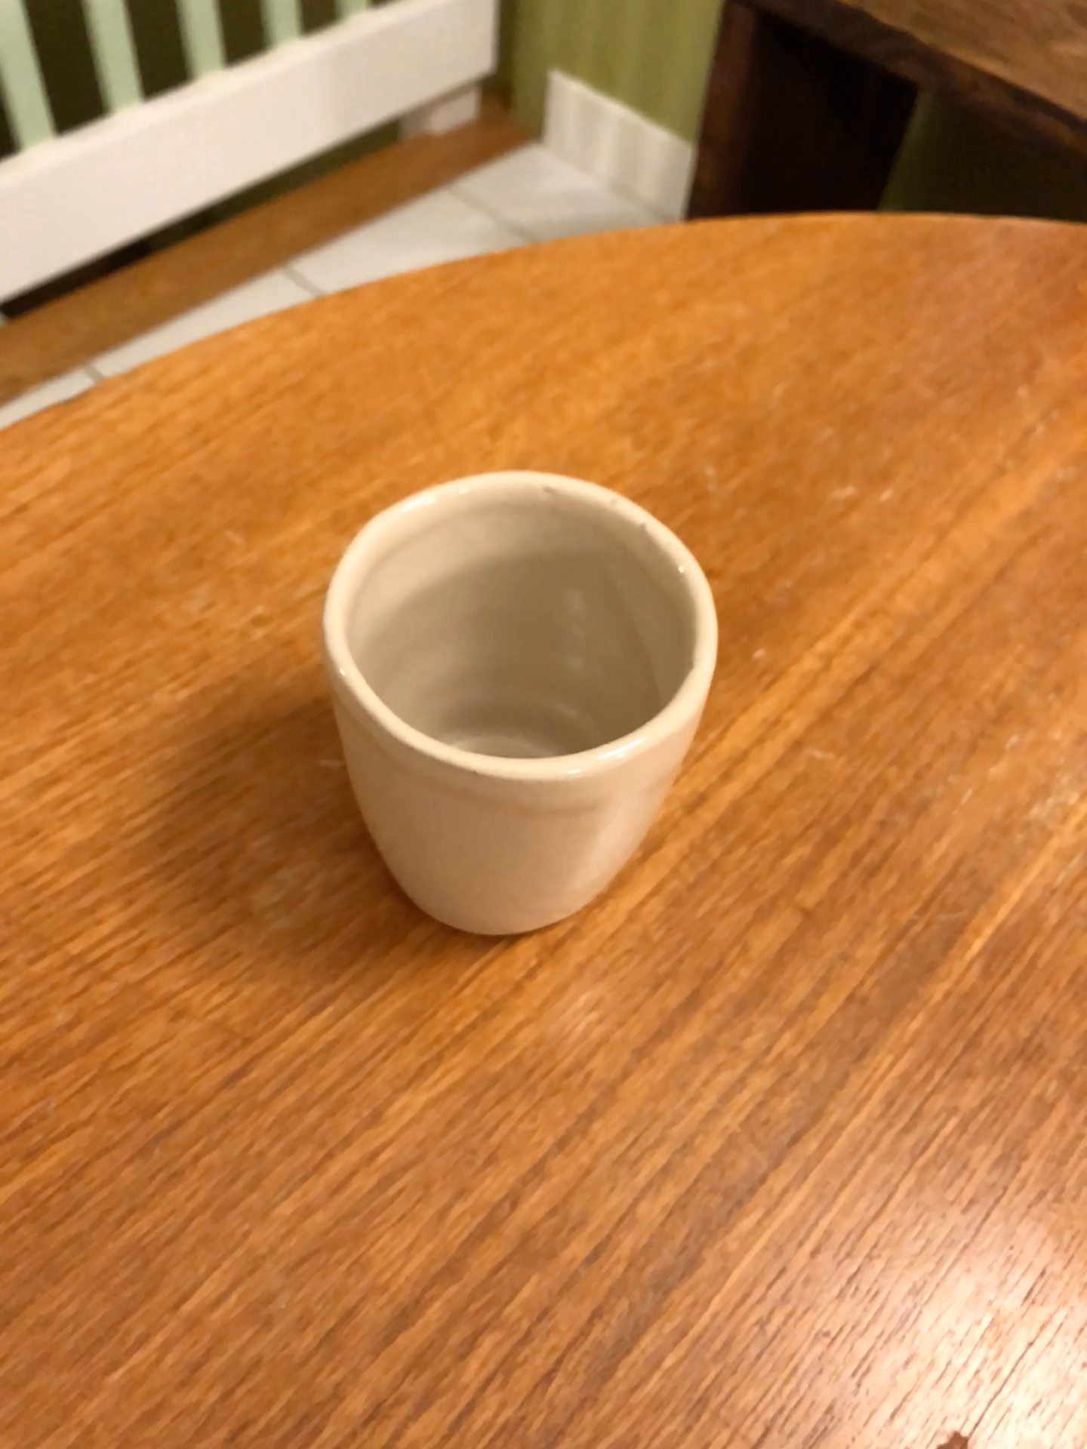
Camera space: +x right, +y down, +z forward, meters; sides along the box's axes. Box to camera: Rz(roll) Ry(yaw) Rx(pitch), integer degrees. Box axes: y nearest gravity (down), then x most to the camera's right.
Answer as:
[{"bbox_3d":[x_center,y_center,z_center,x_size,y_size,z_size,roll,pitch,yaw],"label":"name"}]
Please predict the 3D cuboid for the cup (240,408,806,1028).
[{"bbox_3d":[-0.006,-0.001,0.286,0.084,0.086,0.083,3,55,-4],"label":"cup"}]
